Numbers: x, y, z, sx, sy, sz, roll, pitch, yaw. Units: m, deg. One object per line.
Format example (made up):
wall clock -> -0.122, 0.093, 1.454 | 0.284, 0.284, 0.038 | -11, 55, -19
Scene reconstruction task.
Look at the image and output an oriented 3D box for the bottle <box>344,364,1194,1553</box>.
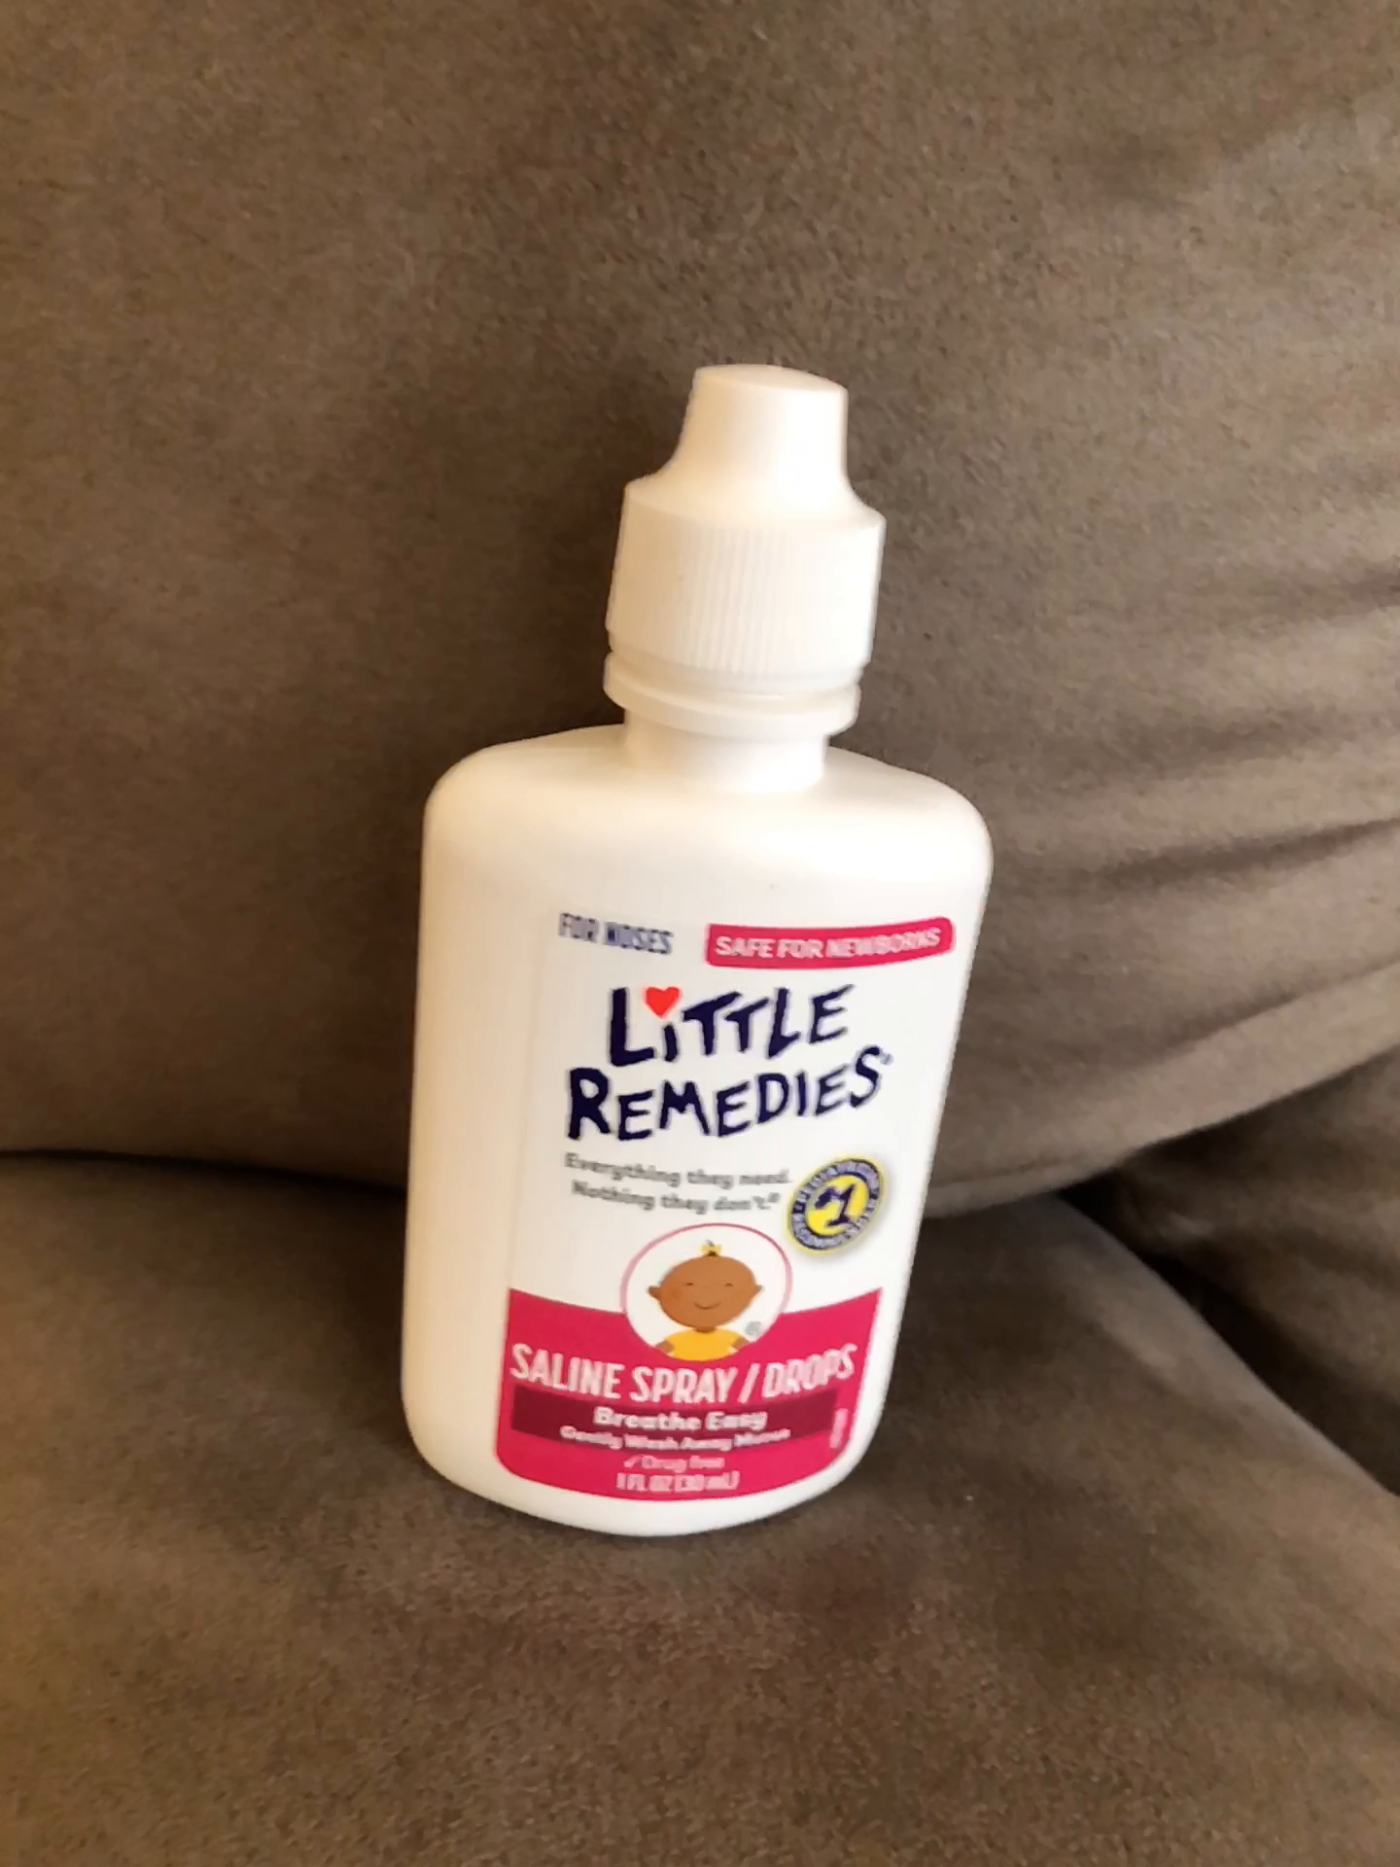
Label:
bottle -> 0.001, 0.008, 0.151 | 0.060, 0.110, 0.030 | 3, 29, -3
